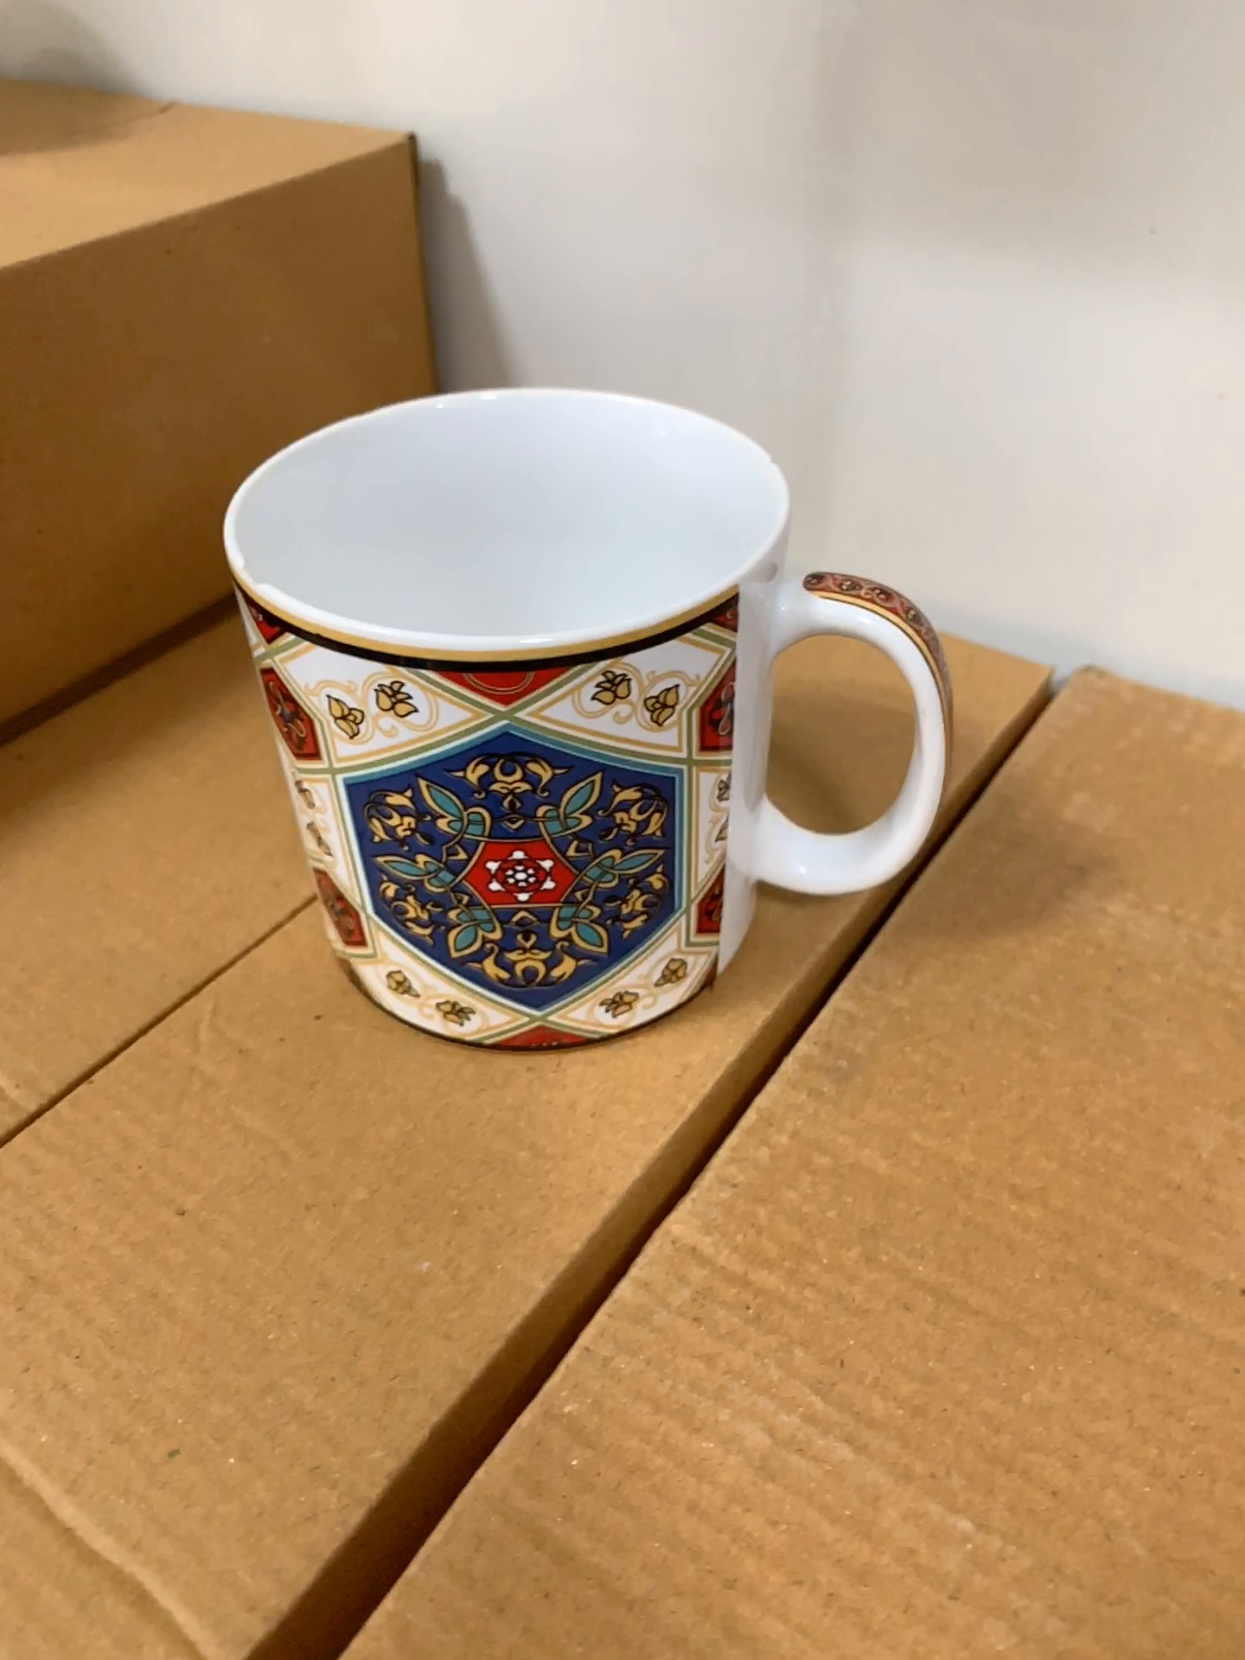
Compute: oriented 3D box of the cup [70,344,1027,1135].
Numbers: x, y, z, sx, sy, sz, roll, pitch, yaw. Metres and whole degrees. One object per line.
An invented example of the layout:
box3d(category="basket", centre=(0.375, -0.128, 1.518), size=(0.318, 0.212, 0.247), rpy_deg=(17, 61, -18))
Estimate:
box3d(category="cup", centre=(-0.003, -0.017, 0.187), size=(0.100, 0.069, 0.081), rpy_deg=(6, 40, 7))
